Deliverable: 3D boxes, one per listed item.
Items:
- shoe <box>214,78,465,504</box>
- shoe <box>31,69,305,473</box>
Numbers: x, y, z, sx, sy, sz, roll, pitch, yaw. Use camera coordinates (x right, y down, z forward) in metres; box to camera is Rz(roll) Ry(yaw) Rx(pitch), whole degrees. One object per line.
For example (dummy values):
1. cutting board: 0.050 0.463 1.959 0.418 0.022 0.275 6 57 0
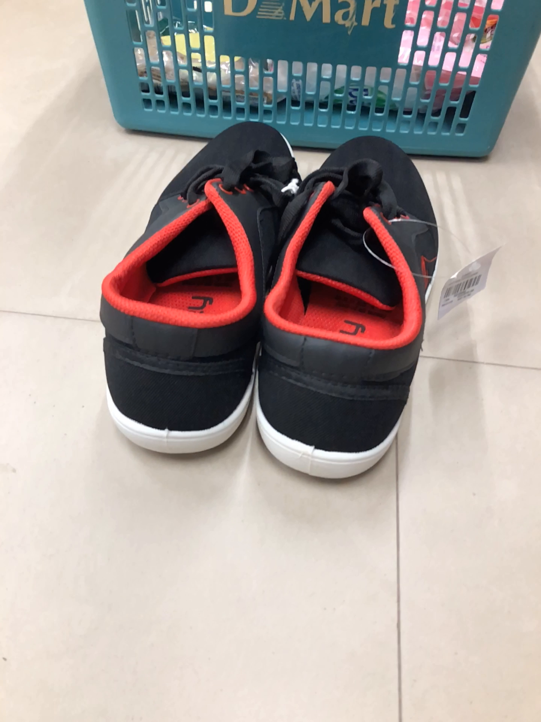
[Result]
1. shoe: 0.054 -0.062 0.371 0.105 0.102 0.262 10 49 7
2. shoe: -0.040 -0.074 0.379 0.105 0.102 0.261 5 49 2
